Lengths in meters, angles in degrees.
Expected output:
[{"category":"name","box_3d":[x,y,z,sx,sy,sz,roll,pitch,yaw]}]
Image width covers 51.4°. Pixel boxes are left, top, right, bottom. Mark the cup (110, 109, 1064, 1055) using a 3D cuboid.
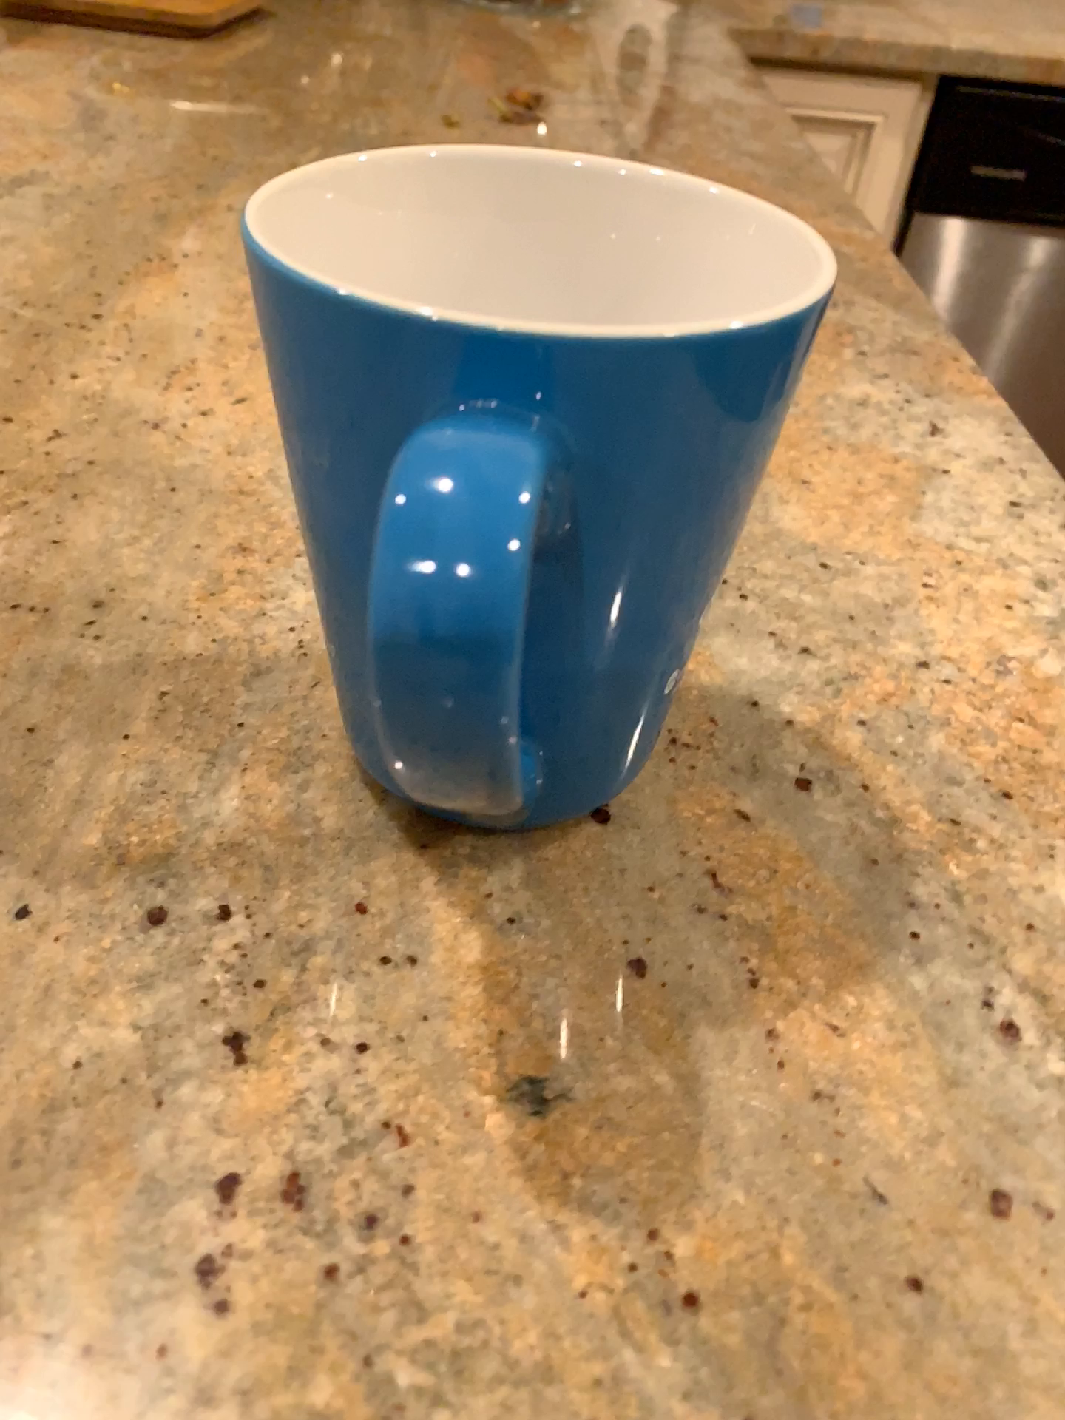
[{"category":"cup","box_3d":[0.000,-0.029,0.193,0.099,0.098,0.139,1,41,-7]}]
